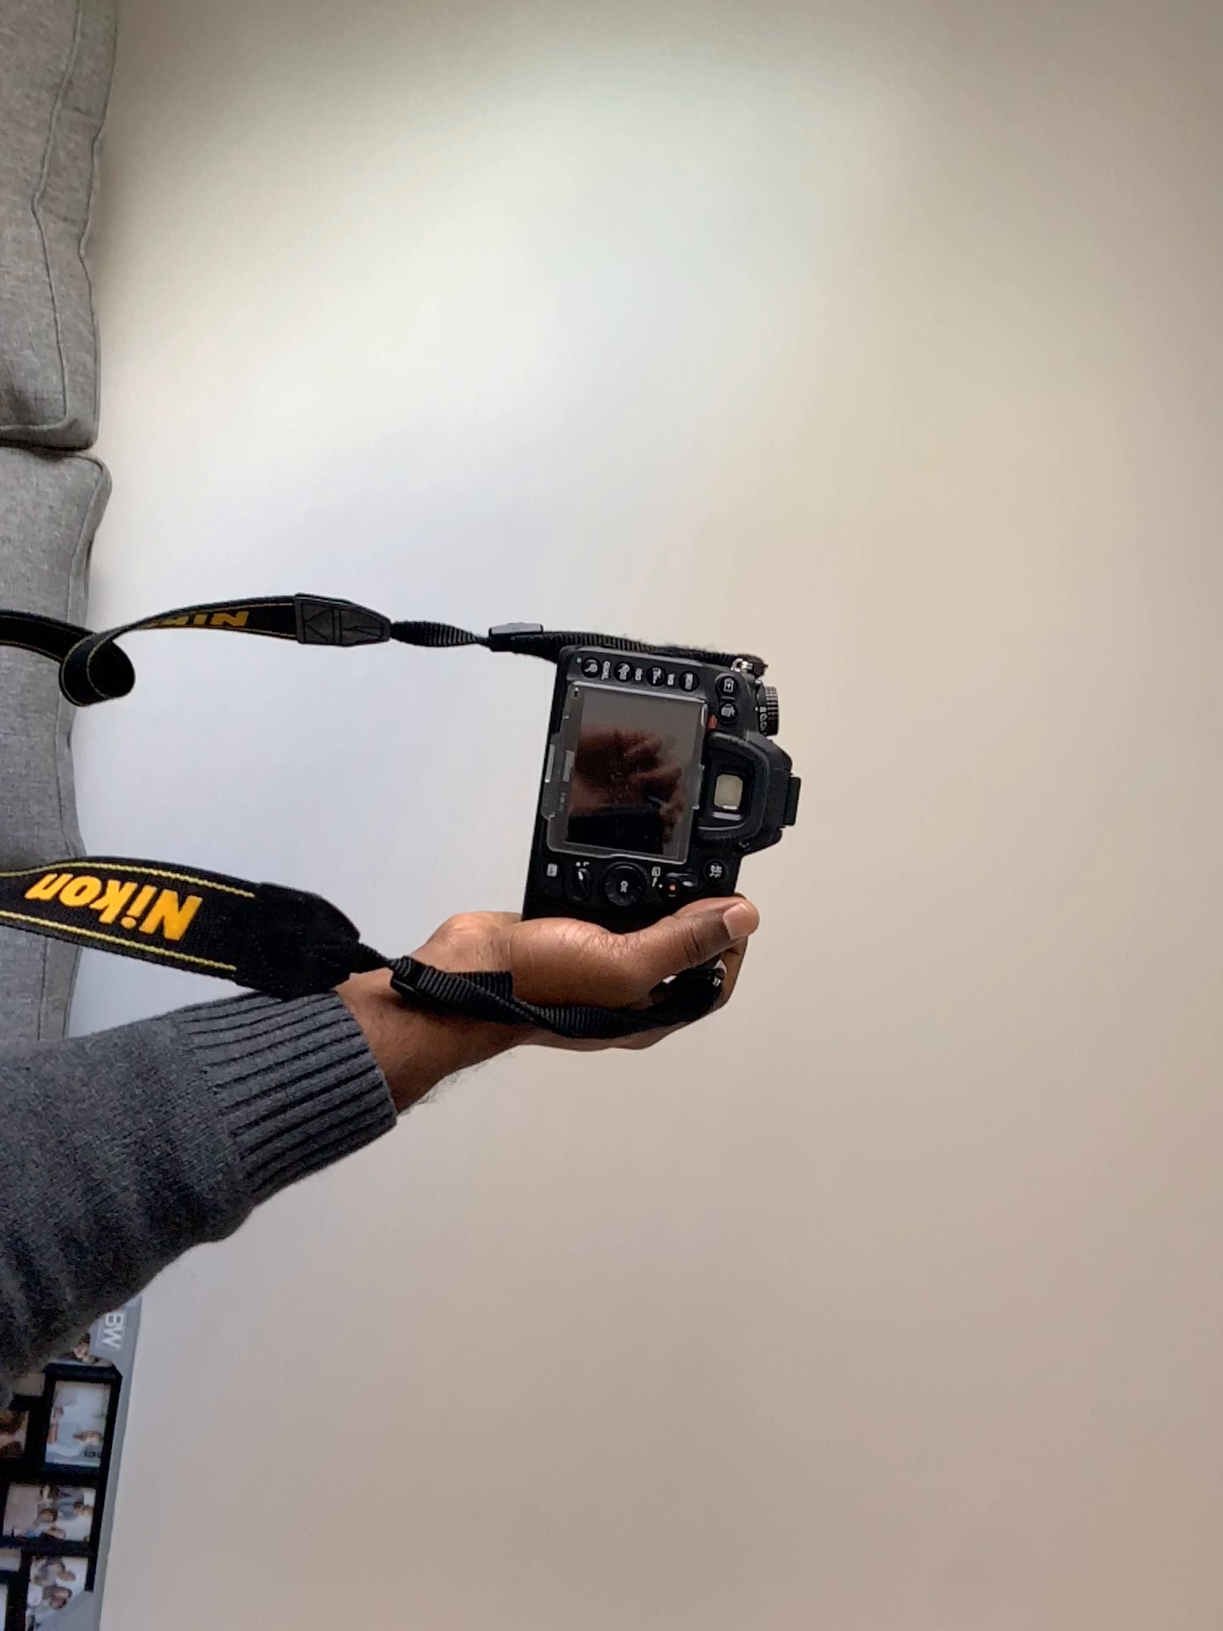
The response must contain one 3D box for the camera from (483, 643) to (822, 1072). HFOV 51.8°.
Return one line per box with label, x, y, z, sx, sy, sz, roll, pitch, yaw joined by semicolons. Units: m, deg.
camera;0.014;0.015;0.606;0.170;0.114;0.160;-143;-116;-87
